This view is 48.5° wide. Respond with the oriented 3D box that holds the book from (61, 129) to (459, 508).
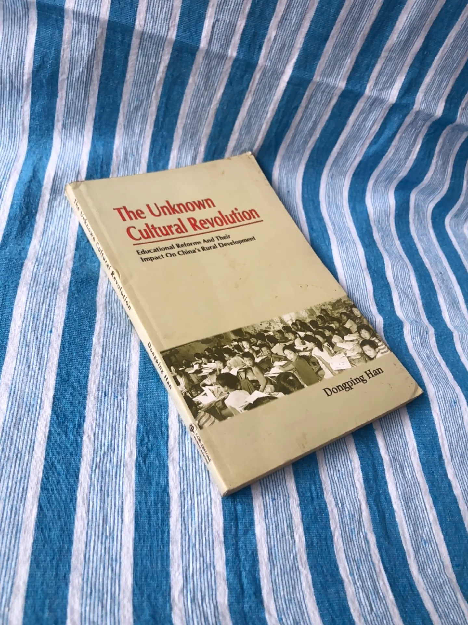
[{"bbox_3d":[0.004,-0.024,0.311,0.140,0.020,0.230,-19,59,-24],"label":"book"}]
